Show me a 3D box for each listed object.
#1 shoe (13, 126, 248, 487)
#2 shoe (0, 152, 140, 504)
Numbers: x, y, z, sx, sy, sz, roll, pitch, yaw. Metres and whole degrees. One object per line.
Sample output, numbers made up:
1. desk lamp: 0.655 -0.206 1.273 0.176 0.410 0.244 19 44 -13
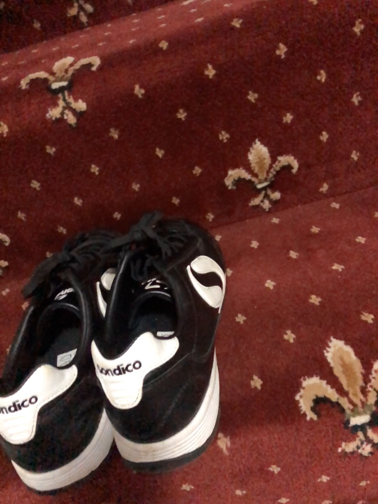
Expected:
1. shoe: -0.028 0.009 0.349 0.100 0.099 0.302 -12 36 8
2. shoe: -0.108 0.032 0.358 0.100 0.099 0.302 -14 36 5
